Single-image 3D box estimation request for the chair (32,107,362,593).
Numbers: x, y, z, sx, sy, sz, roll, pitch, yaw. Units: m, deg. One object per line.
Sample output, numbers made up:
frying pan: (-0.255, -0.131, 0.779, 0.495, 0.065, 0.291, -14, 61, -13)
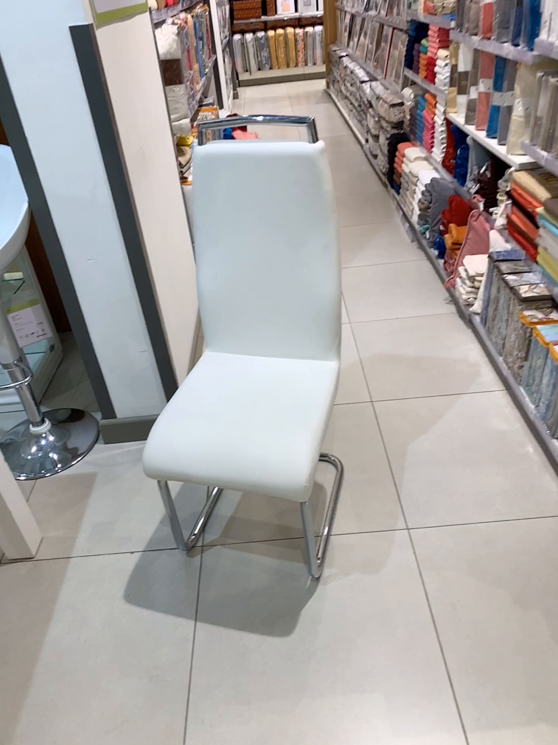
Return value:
chair: (-0.081, -0.039, 1.403, 0.480, 1.025, 0.522, 5, 35, 16)
